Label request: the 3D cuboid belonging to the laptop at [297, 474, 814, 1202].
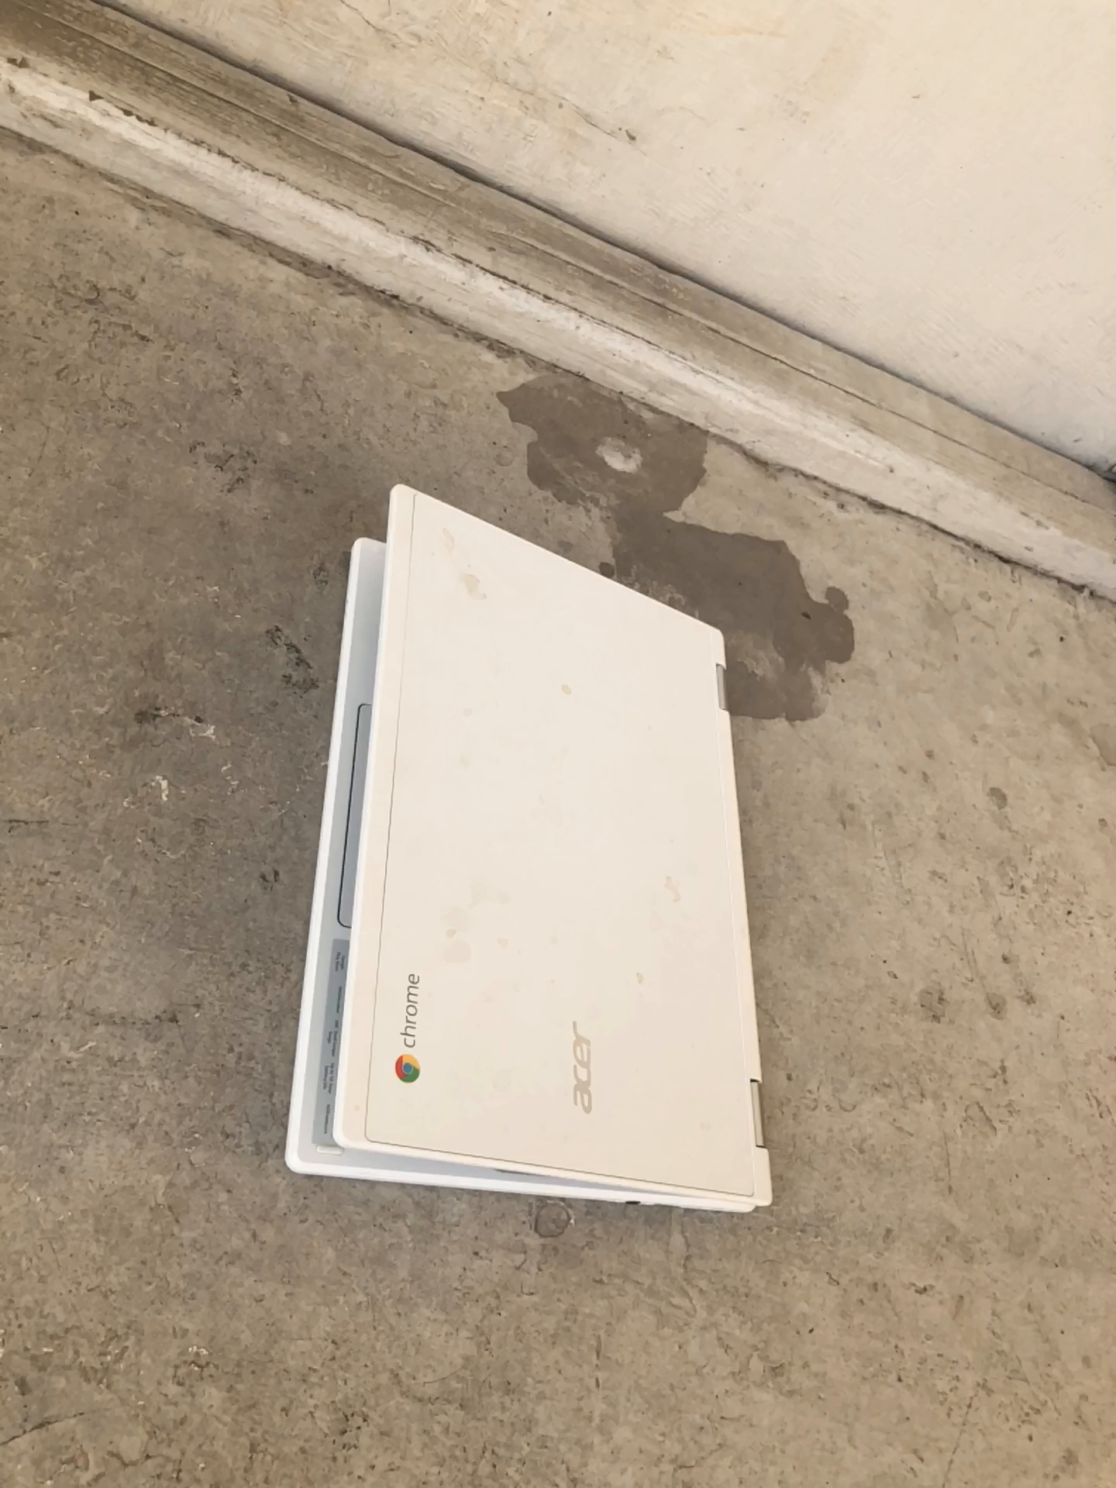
[{"bbox_3d":[0.004,0.035,0.519,0.190,0.046,0.279,15,56,-23],"label":"laptop"}]
